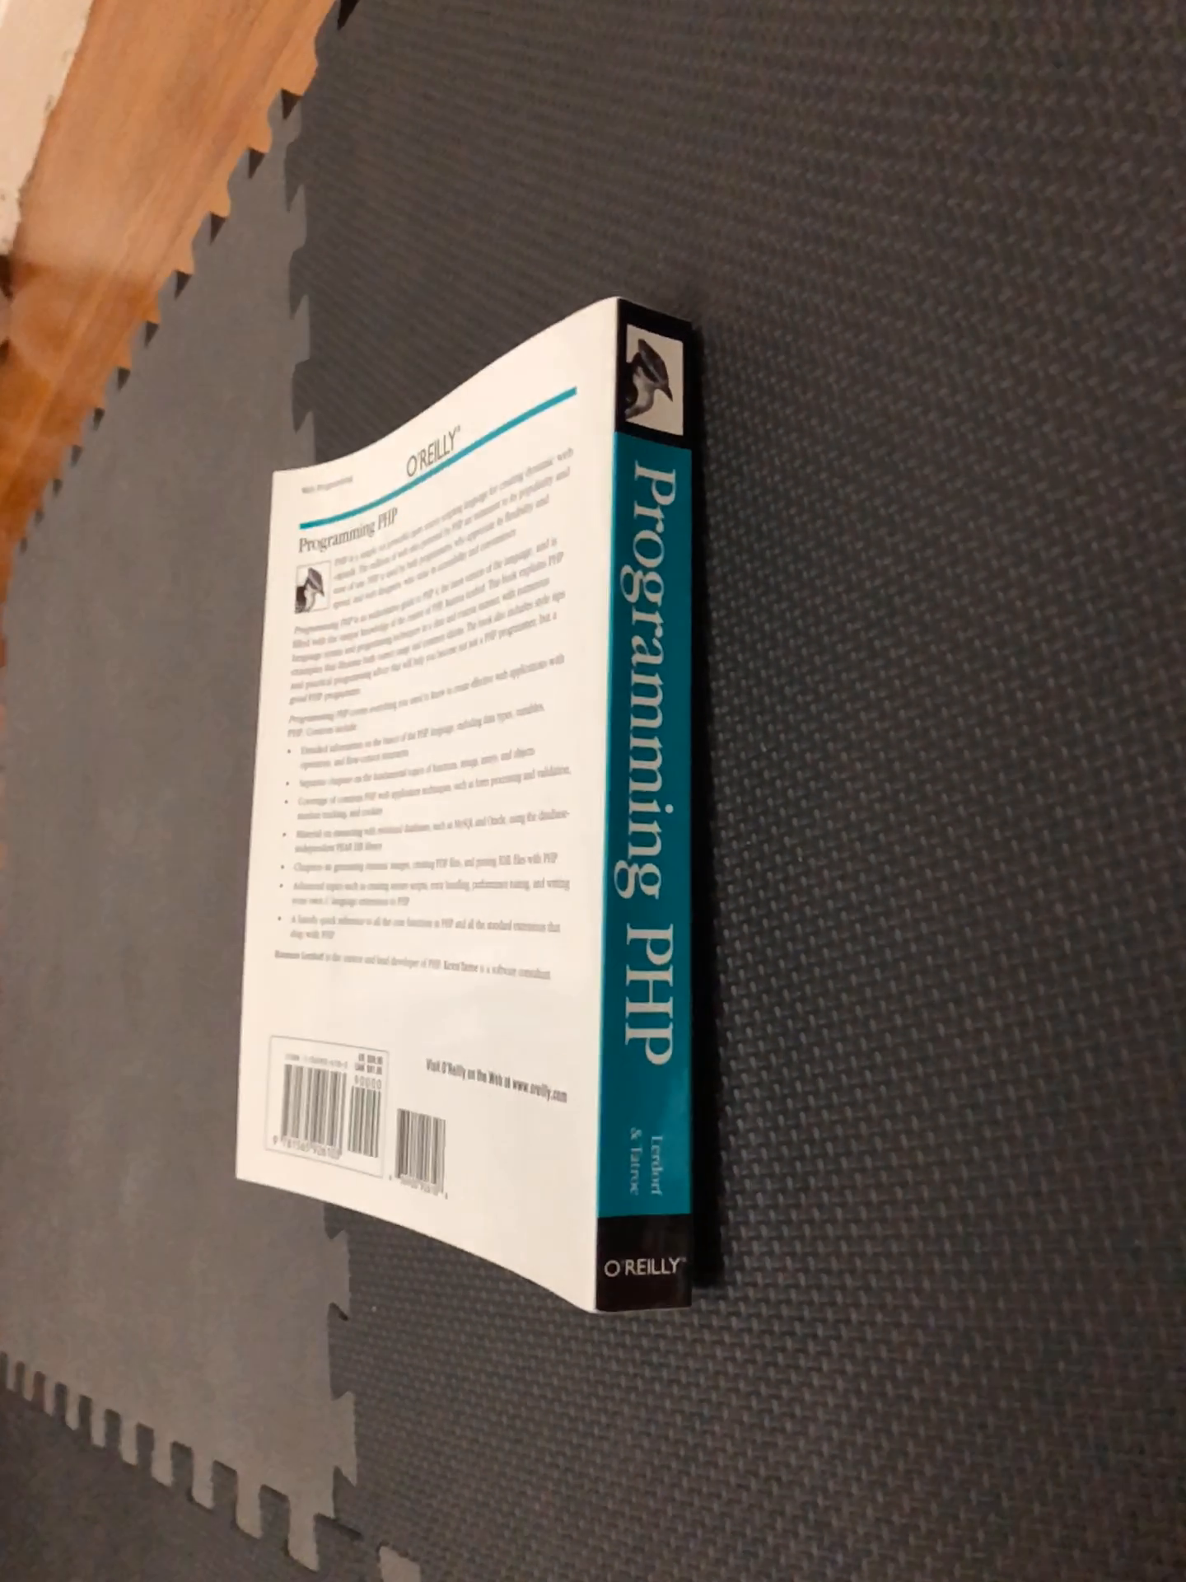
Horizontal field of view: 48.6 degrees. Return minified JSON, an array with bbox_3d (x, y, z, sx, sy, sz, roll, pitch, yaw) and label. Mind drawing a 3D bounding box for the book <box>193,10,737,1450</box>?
[{"bbox_3d":[-0.051,-0.010,0.369,0.231,0.040,0.290,-7,81,55],"label":"book"}]
